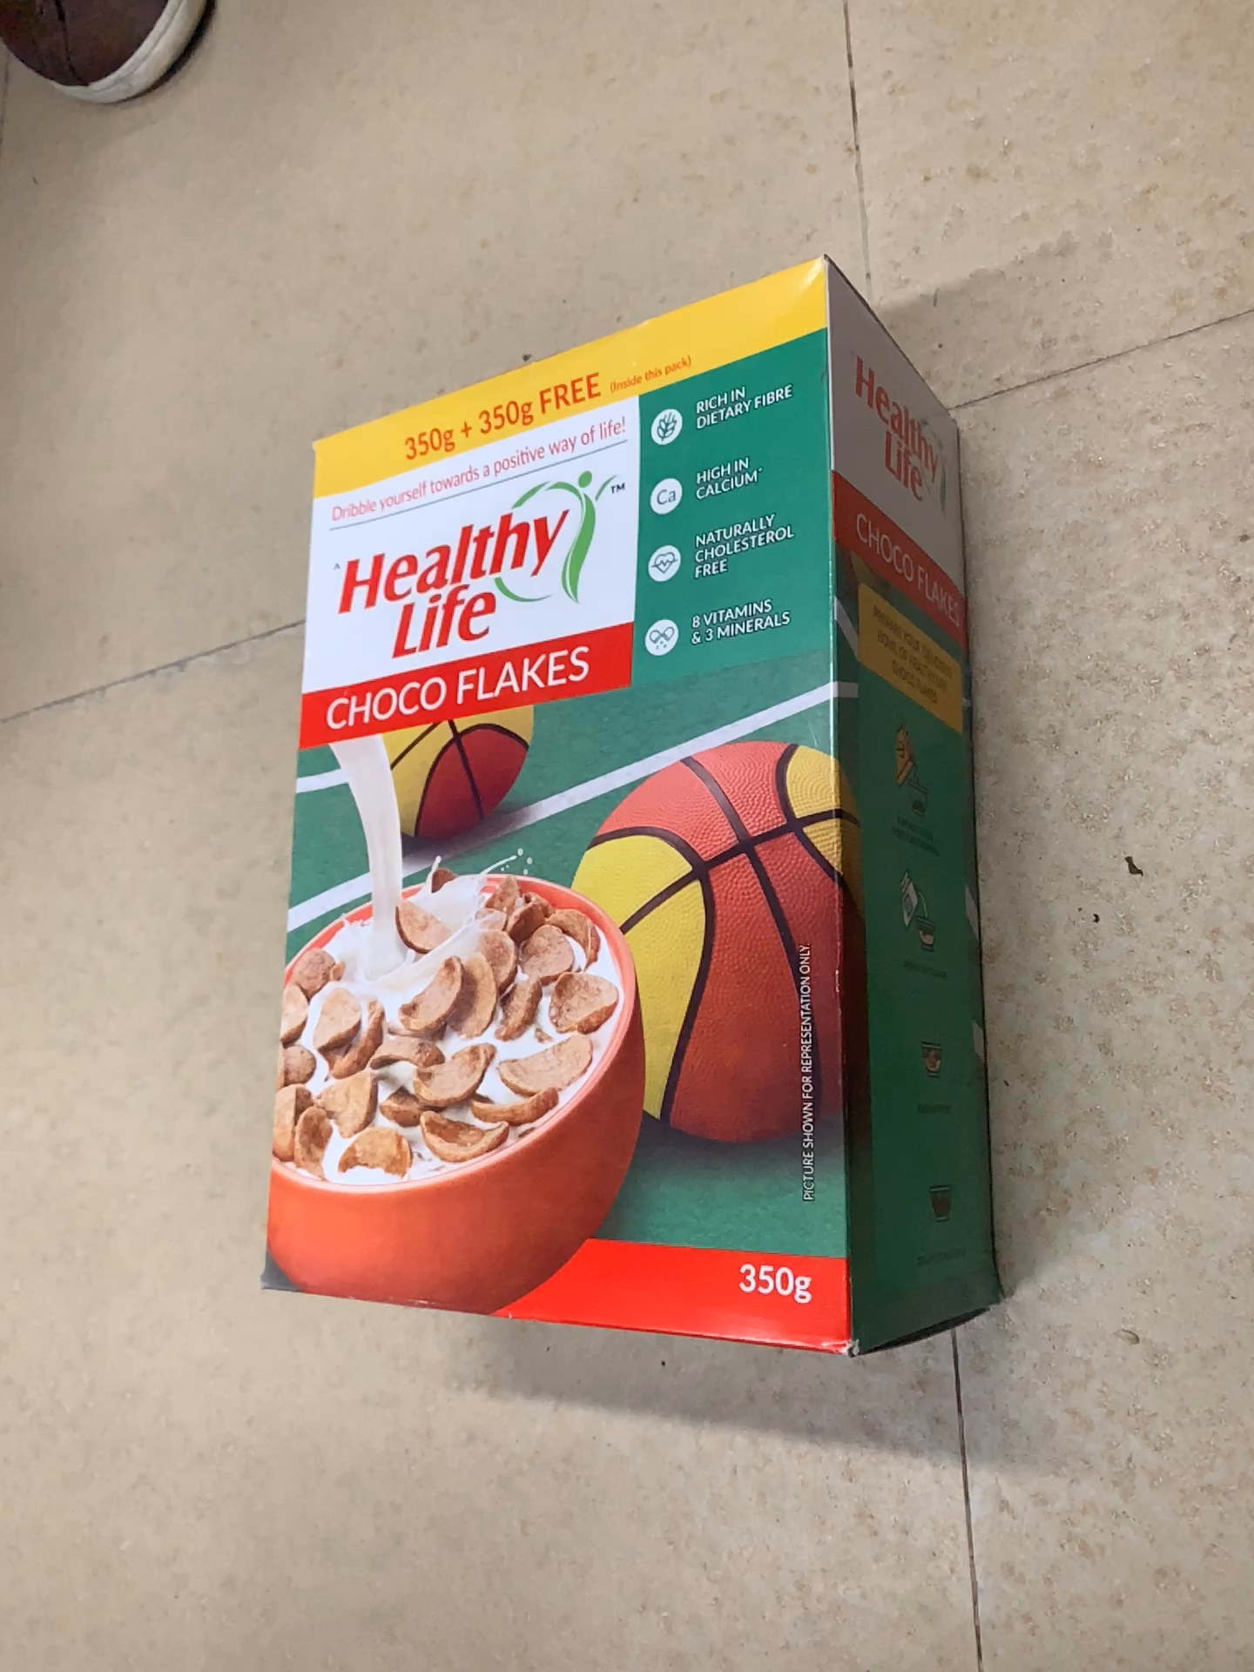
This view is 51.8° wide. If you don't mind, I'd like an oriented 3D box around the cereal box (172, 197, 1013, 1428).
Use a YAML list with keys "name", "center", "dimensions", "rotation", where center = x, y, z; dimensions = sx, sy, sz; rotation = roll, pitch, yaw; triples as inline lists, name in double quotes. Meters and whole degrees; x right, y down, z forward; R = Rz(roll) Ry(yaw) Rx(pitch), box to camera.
- name: "cereal box"
  center: [-0.010, 0.002, 0.382]
  dimensions: [0.201, 0.110, 0.280]
  rotation: [-8, 74, 32]
